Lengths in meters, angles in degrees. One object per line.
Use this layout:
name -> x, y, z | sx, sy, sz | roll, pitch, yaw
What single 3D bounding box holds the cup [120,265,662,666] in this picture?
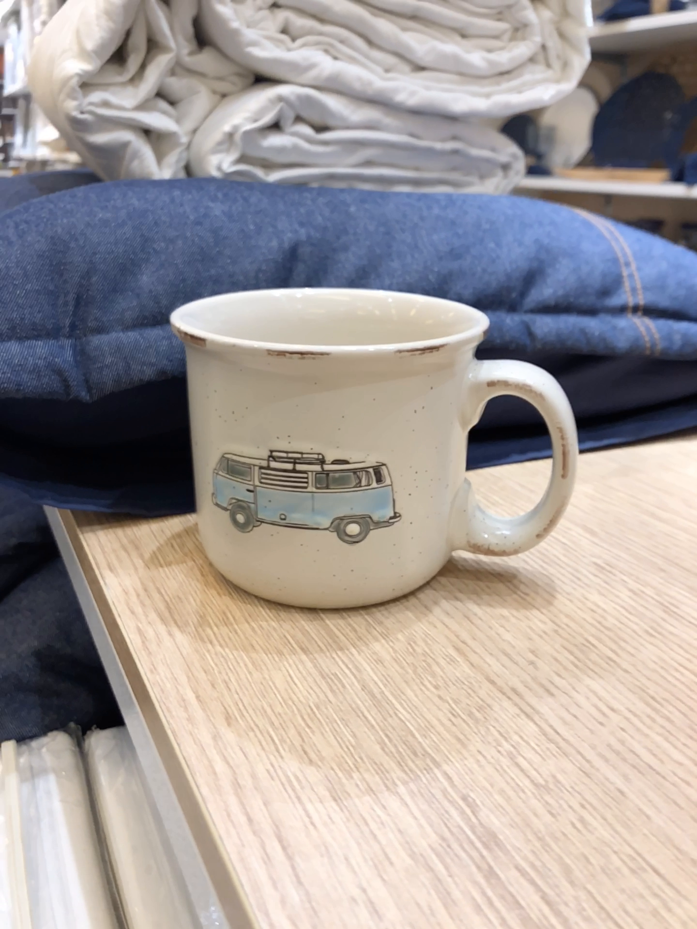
cup -> 0.017, -0.011, 0.259 | 0.140, 0.089, 0.101 | 6, 21, 13
